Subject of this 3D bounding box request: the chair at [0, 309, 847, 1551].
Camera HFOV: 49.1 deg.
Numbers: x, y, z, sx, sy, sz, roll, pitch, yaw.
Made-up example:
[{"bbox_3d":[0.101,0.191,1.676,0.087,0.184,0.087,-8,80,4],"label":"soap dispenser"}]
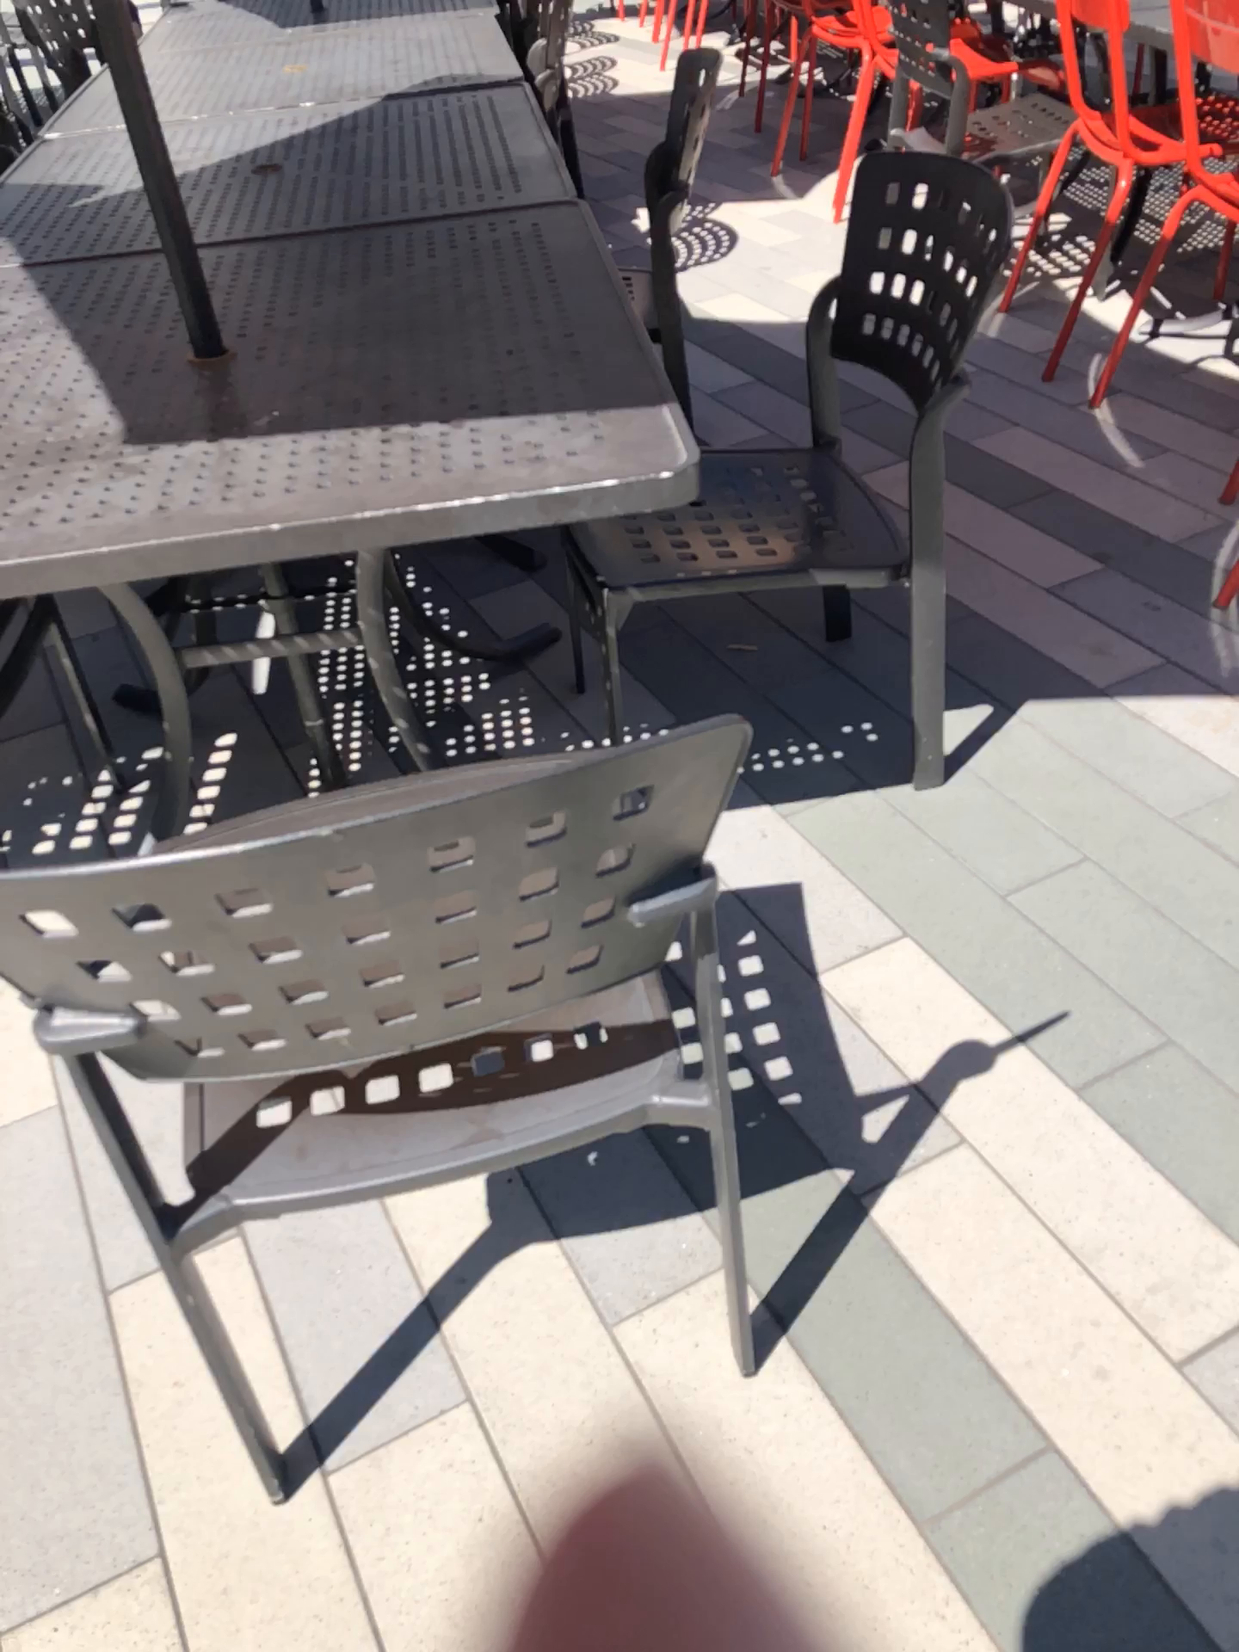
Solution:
[{"bbox_3d":[-0.179,0.093,1.105,0.520,0.756,0.533,-13,43,-9],"label":"chair"}]
